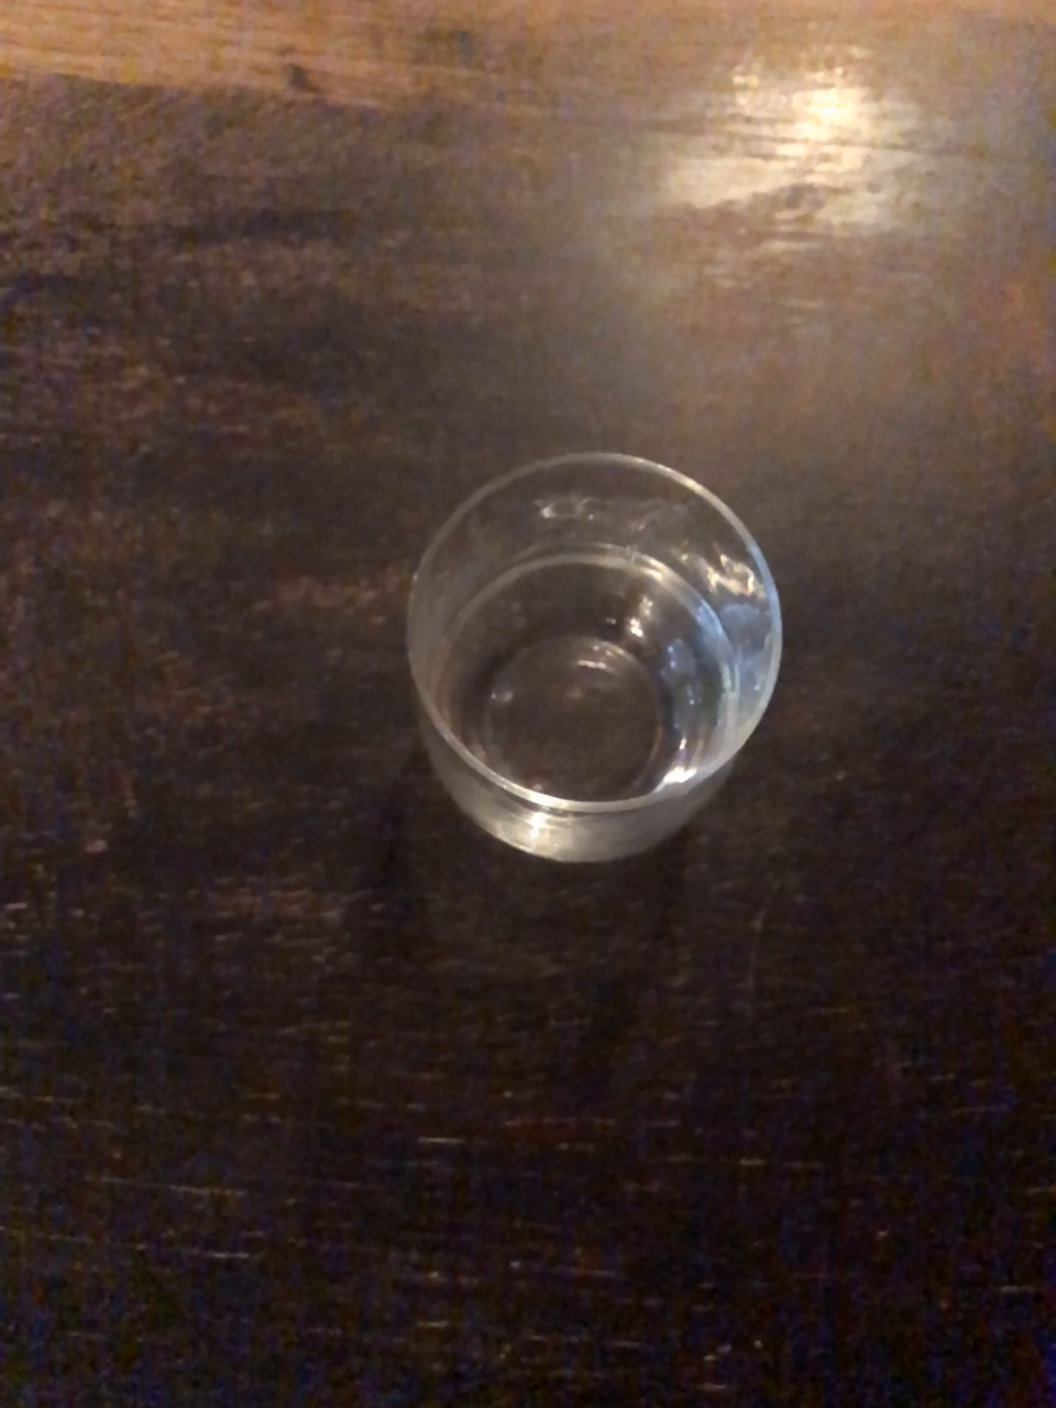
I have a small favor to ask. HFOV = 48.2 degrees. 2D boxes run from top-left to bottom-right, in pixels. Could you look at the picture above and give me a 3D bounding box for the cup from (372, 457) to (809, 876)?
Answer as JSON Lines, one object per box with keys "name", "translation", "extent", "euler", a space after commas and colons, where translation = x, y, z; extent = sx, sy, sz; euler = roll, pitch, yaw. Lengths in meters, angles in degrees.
{"name": "cup", "translation": [0.010, -0.003, 0.259], "extent": [0.077, 0.084, 0.070], "euler": [0, 77, -1]}
